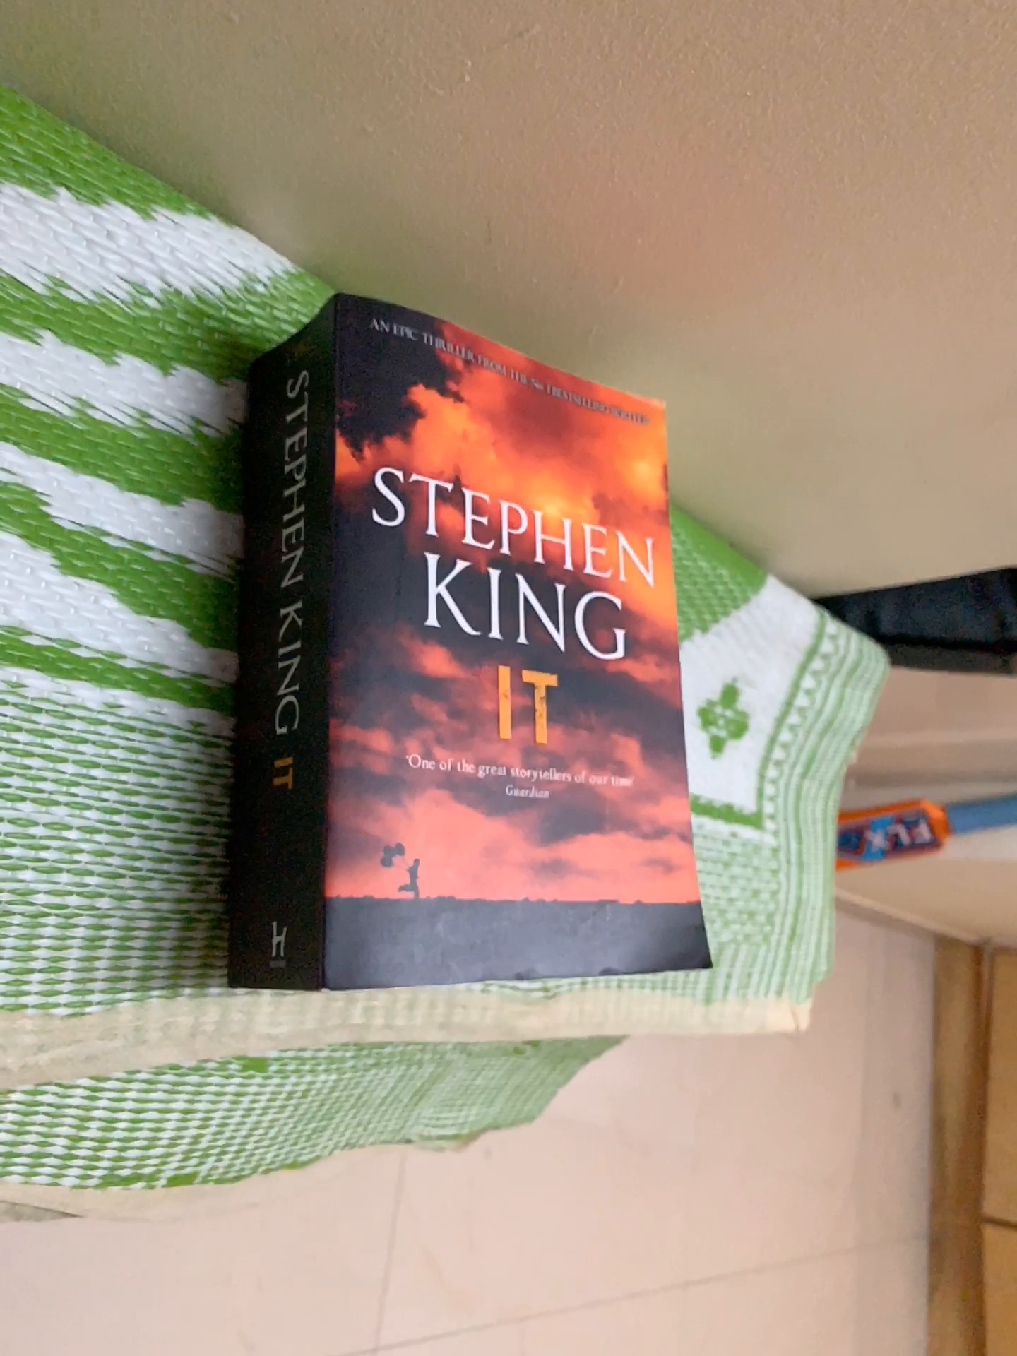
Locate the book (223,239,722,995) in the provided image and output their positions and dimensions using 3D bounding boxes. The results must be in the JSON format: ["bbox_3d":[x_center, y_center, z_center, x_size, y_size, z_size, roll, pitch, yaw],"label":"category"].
[{"bbox_3d":[-0.010,-0.008,0.350,0.141,0.070,0.210,13,67,-42],"label":"book"}]
